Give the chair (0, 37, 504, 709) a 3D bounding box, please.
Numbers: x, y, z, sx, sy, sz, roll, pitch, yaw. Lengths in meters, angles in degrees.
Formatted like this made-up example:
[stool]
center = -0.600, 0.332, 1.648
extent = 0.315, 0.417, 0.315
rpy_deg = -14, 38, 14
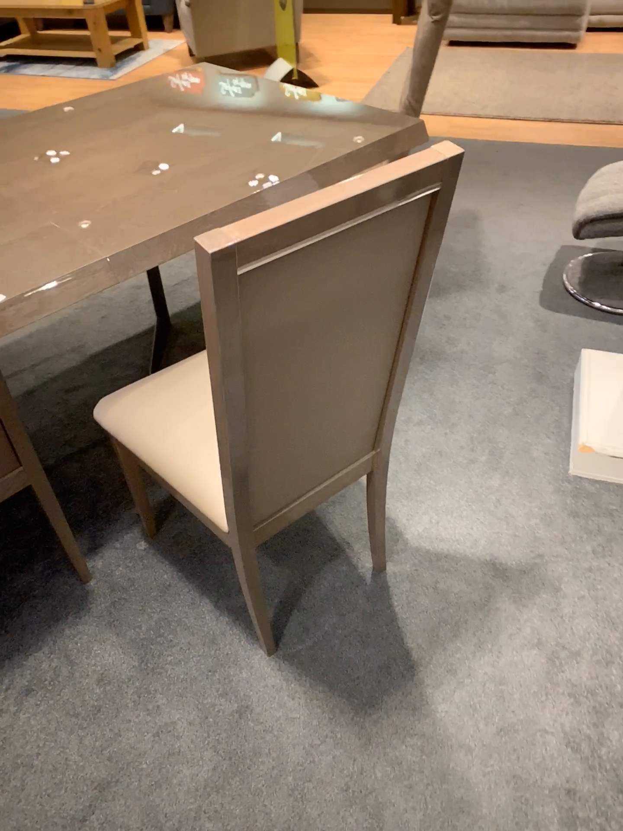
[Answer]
[chair]
center = -0.127, -0.045, 1.176
extent = 0.500, 0.976, 0.585
rpy_deg = -30, 51, -26
